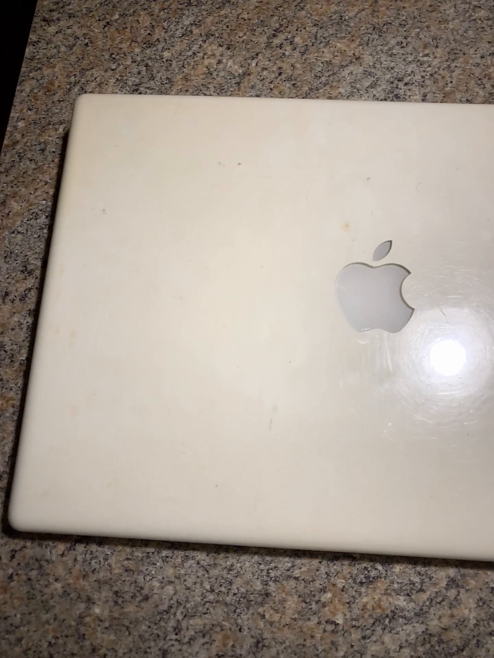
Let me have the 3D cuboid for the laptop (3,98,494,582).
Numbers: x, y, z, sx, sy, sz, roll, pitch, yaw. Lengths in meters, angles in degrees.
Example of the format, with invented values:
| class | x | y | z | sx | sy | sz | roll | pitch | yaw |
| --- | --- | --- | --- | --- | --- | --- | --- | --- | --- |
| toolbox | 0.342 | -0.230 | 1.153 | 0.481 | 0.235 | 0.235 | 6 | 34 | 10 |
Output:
| class | x | y | z | sx | sy | sz | roll | pitch | yaw |
| --- | --- | --- | --- | --- | --- | --- | --- | --- | --- |
| laptop | 0.055 | -0.015 | 0.224 | 0.305 | 0.002 | 0.205 | 2 | 74 | 6 |
